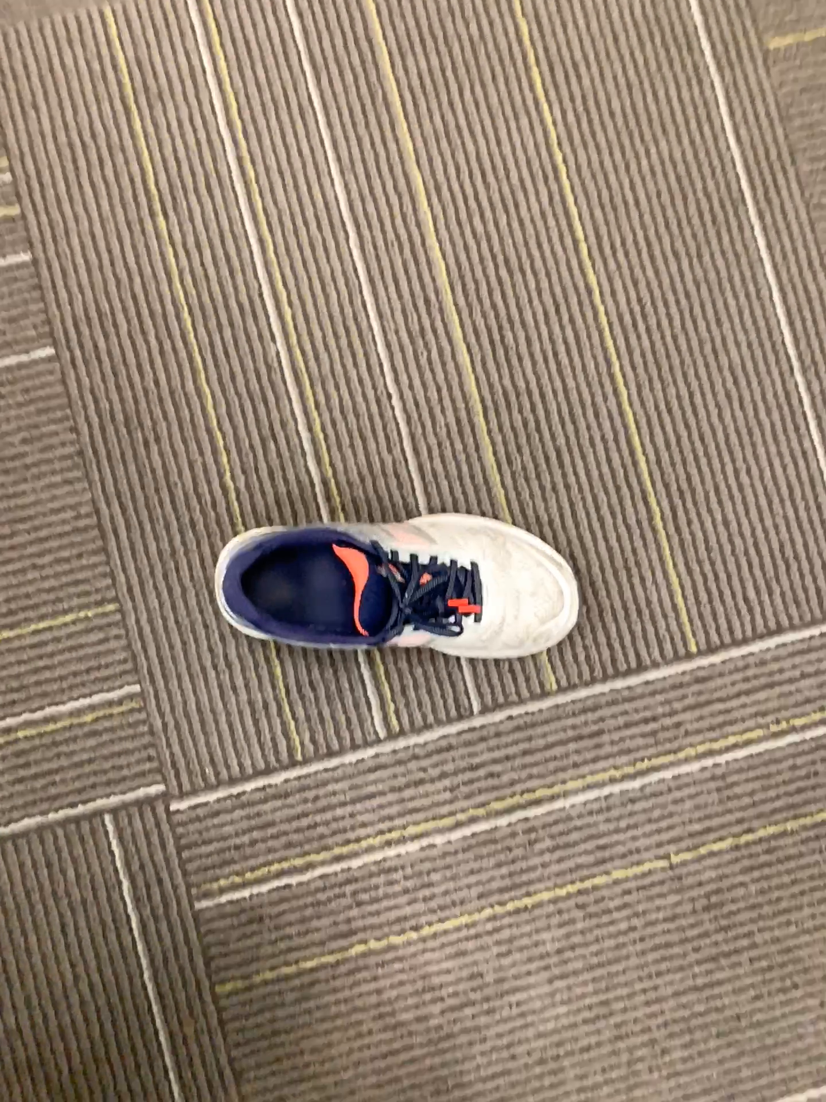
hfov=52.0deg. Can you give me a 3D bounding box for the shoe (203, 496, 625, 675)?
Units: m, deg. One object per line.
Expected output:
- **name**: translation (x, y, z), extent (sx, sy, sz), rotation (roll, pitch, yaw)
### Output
- **shoe**: translation (0.000, 0.023, 0.584), extent (0.260, 0.120, 0.110), rotation (0, 88, -2)
